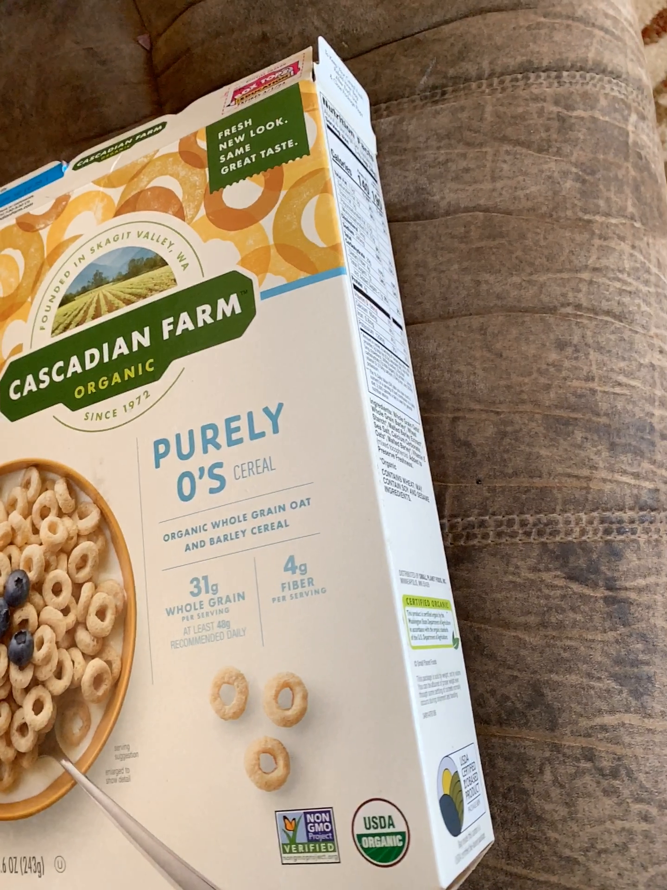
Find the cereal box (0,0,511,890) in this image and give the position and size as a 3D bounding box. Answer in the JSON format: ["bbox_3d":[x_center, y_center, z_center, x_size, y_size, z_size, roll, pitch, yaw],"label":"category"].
[{"bbox_3d":[-0.070,0.012,0.251,0.201,0.070,0.280,-16,66,21],"label":"cereal box"}]
